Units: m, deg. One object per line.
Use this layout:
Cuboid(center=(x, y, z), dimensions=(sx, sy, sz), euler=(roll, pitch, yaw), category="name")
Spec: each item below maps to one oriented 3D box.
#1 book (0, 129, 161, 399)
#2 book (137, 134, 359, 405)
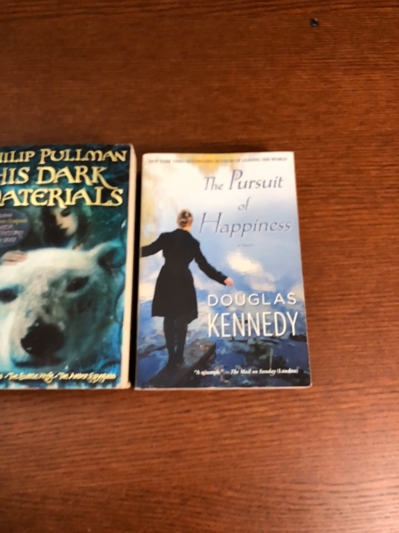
Cuboid(center=(-0.131, -0.006, 0.422), dimensions=(0.180, 0.050, 0.250), euler=(0, 73, 0), category="book")
Cuboid(center=(0.038, -0.003, 0.416), dimensions=(0.180, 0.040, 0.250), euler=(0, 73, 0), category="book")
